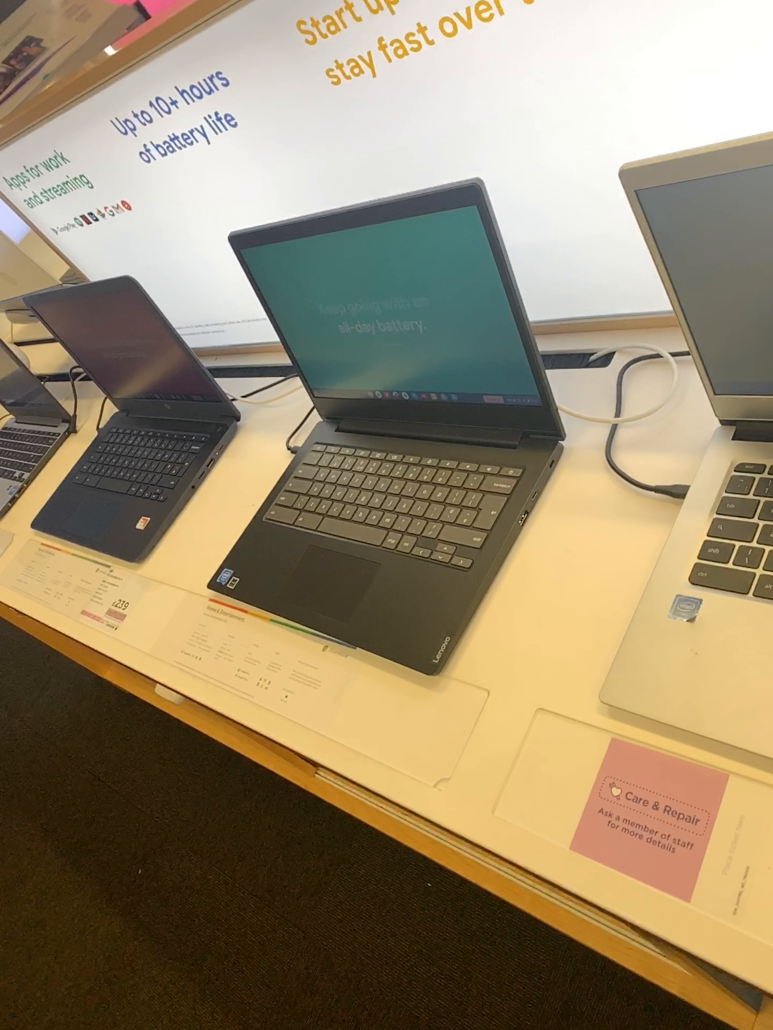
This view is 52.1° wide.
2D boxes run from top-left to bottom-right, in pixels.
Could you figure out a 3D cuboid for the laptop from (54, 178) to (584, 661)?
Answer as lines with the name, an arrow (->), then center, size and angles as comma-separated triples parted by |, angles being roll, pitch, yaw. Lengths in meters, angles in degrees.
laptop -> -0.061, -0.085, 0.686 | 0.317, 0.201, 0.281 | 10, 62, 46
